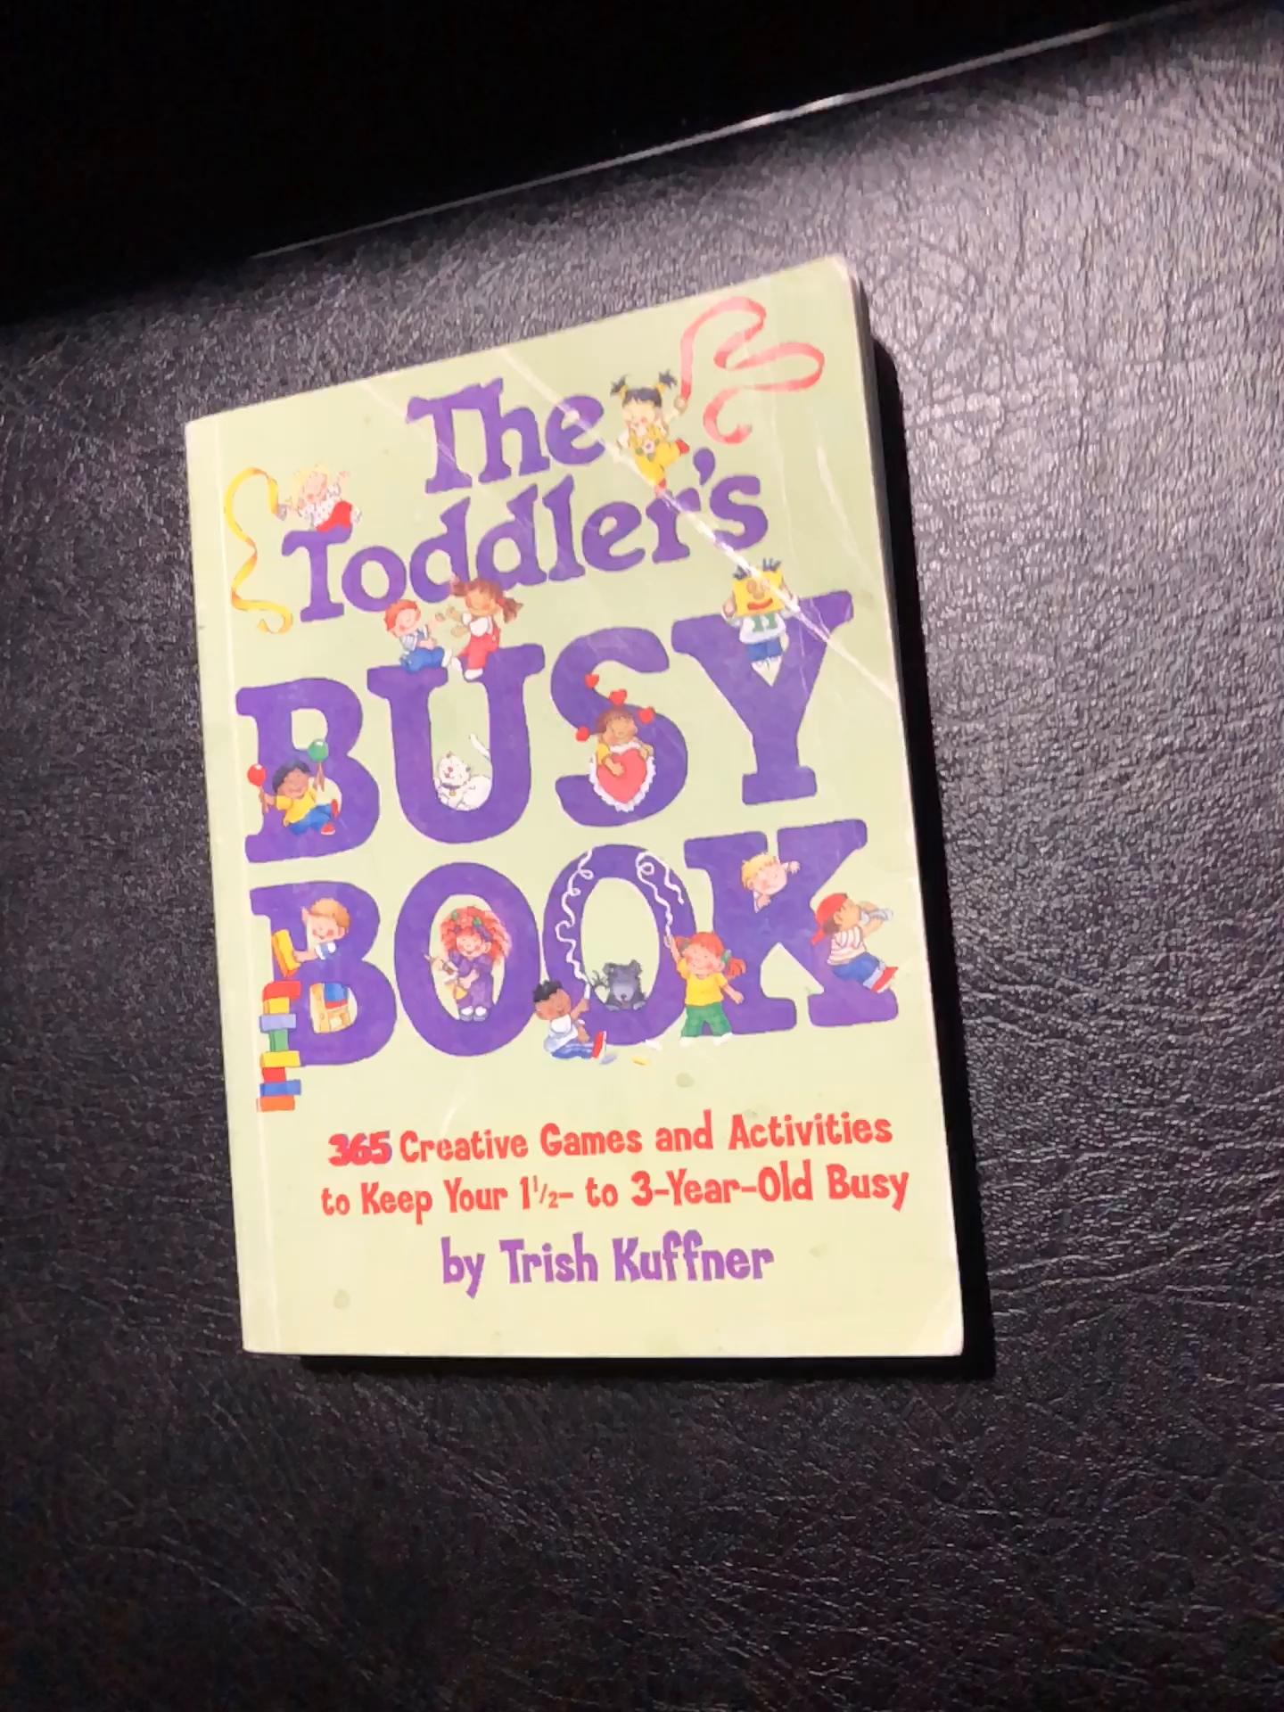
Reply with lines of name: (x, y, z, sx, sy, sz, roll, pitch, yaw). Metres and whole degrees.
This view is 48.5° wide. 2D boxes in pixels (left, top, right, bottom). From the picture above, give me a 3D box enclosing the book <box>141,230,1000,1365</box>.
book: (-0.016, -0.004, 0.255, 0.136, 0.033, 0.176, -7, 85, 18)
